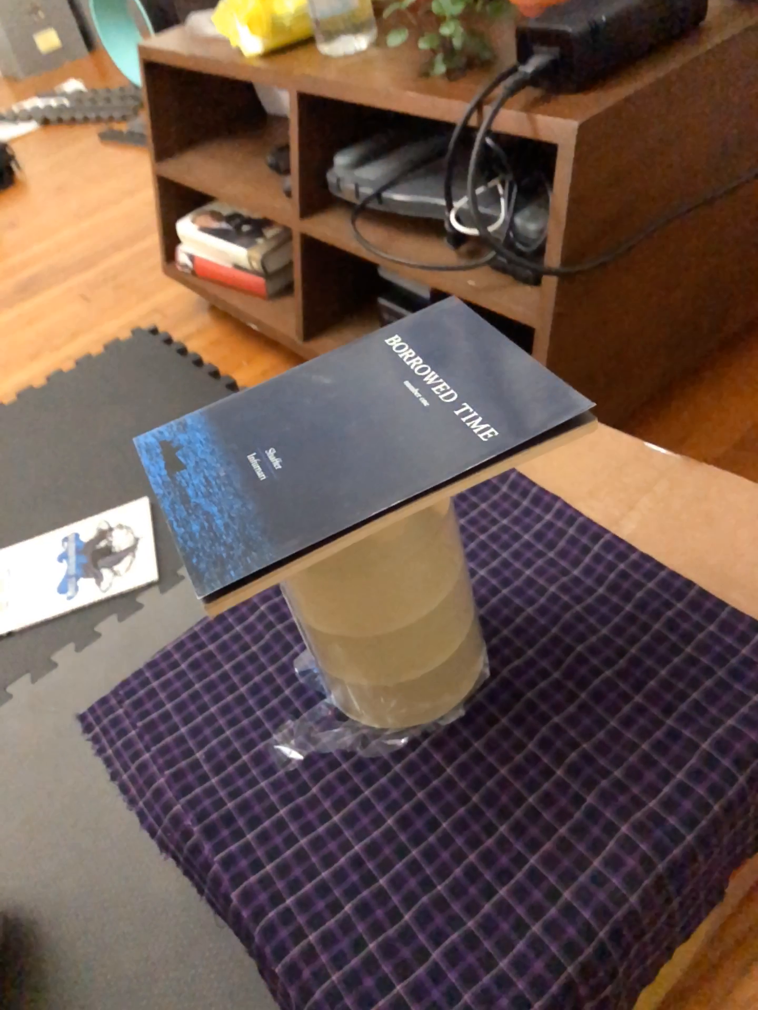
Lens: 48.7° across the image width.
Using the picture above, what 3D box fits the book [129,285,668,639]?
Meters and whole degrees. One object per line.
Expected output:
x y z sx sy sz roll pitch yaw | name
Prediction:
0.000 -0.039 0.427 0.230 0.010 0.161 -24 43 -12 | book
